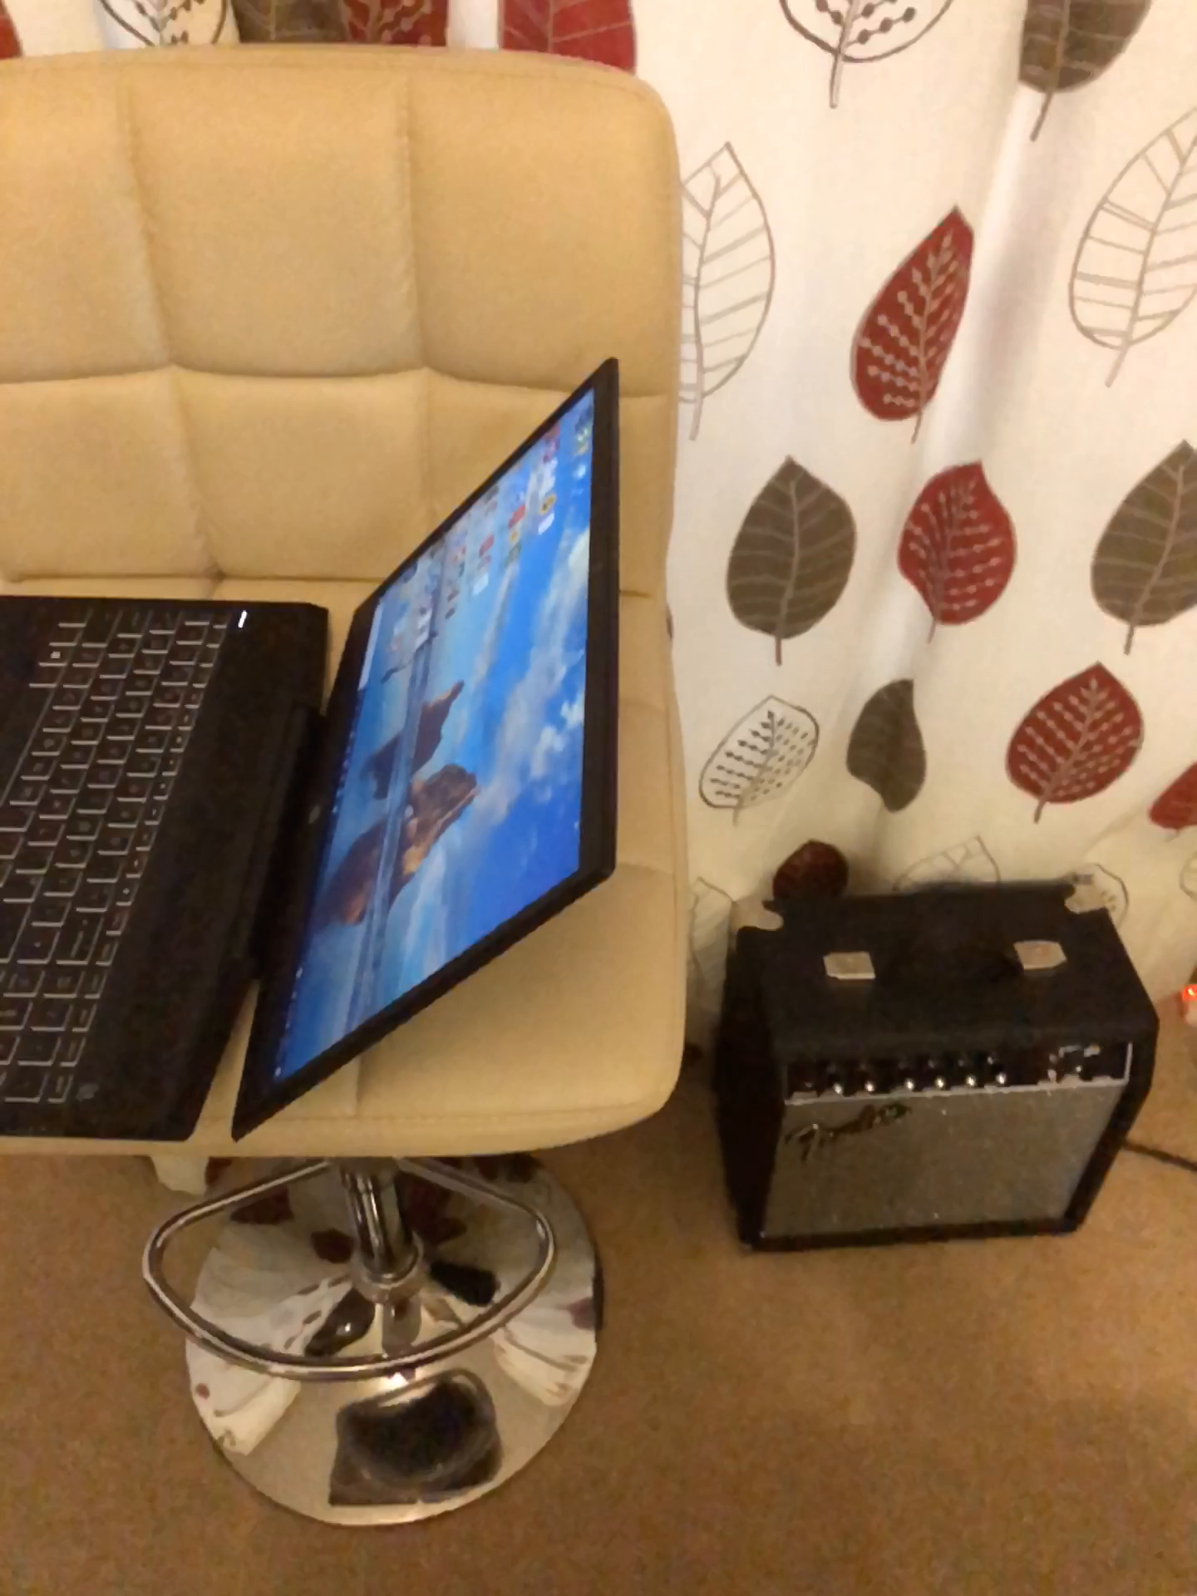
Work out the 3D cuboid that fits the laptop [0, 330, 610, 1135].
[{"bbox_3d":[-0.197,-0.050,0.609,0.400,0.159,0.350,2,45,-1],"label":"laptop"}]
